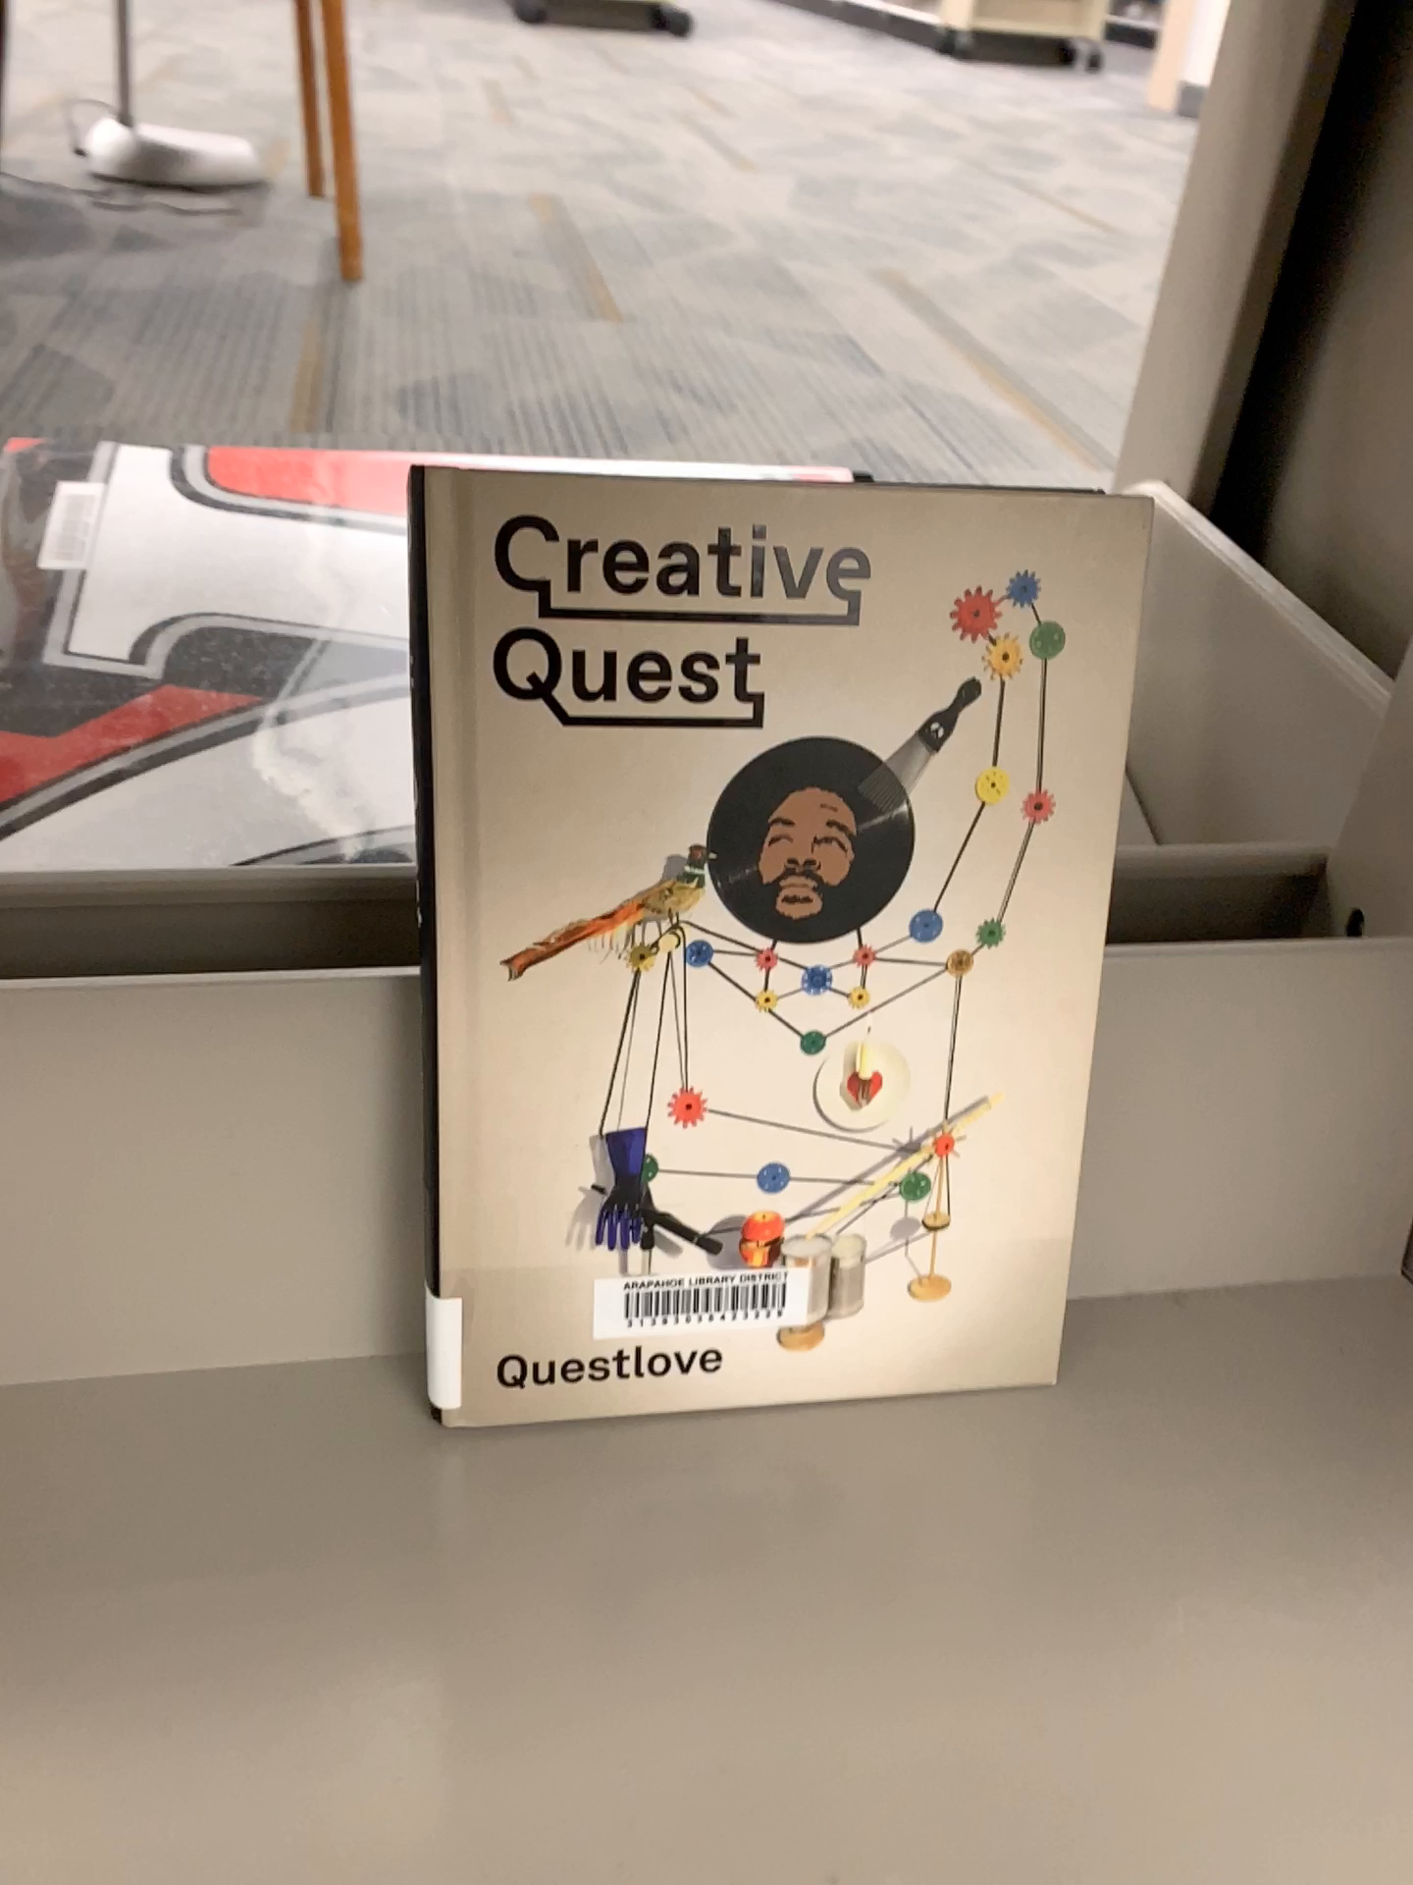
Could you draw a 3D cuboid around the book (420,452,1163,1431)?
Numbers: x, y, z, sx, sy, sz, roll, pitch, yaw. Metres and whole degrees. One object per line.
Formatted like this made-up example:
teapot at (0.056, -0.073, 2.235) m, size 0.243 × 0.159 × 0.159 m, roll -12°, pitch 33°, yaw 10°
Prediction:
book at (0.015, 0.004, 0.349) m, size 0.160 × 0.223 × 0.031 m, roll -1°, pitch 16°, yaw -10°
